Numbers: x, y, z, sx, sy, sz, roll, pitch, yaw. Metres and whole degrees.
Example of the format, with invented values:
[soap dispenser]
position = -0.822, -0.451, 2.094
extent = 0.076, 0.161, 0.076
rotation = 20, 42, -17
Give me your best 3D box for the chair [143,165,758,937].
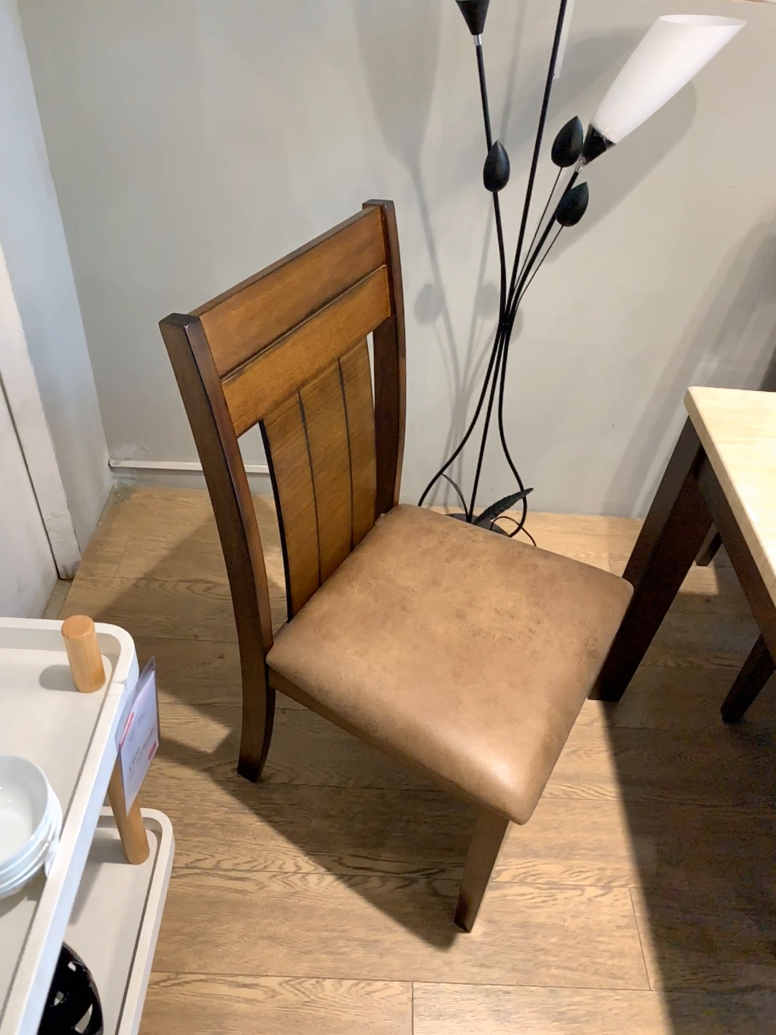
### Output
[chair]
position = 0.068, 0.092, 1.249
extent = 0.550, 0.996, 0.512
rotation = 23, 45, 18
